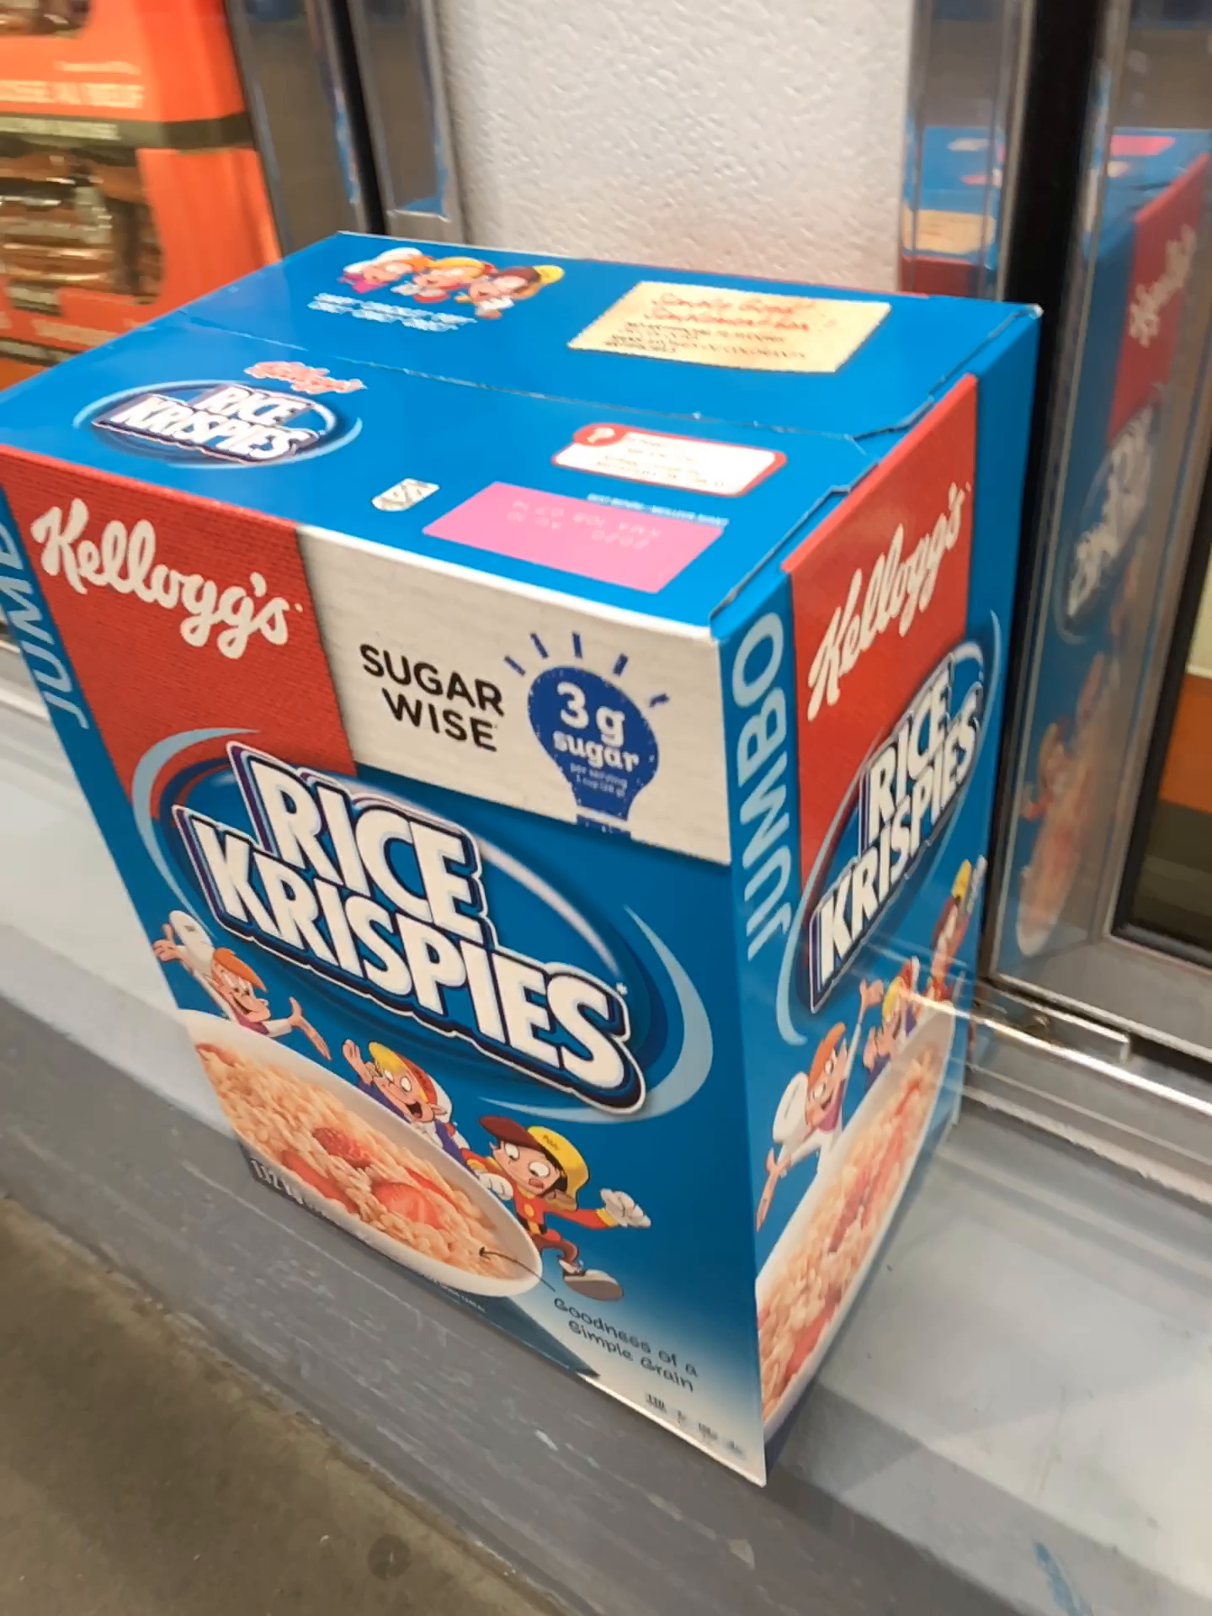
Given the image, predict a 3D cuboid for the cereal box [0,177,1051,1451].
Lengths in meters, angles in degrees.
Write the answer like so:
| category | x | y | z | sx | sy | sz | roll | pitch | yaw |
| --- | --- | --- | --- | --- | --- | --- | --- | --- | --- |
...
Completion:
| category | x | y | z | sx | sy | sz | roll | pitch | yaw |
| --- | --- | --- | --- | --- | --- | --- | --- | --- | --- |
| cereal box | -0.021 | 0.001 | 0.425 | 0.241 | 0.319 | 0.160 | 19 | 48 | 29 |
